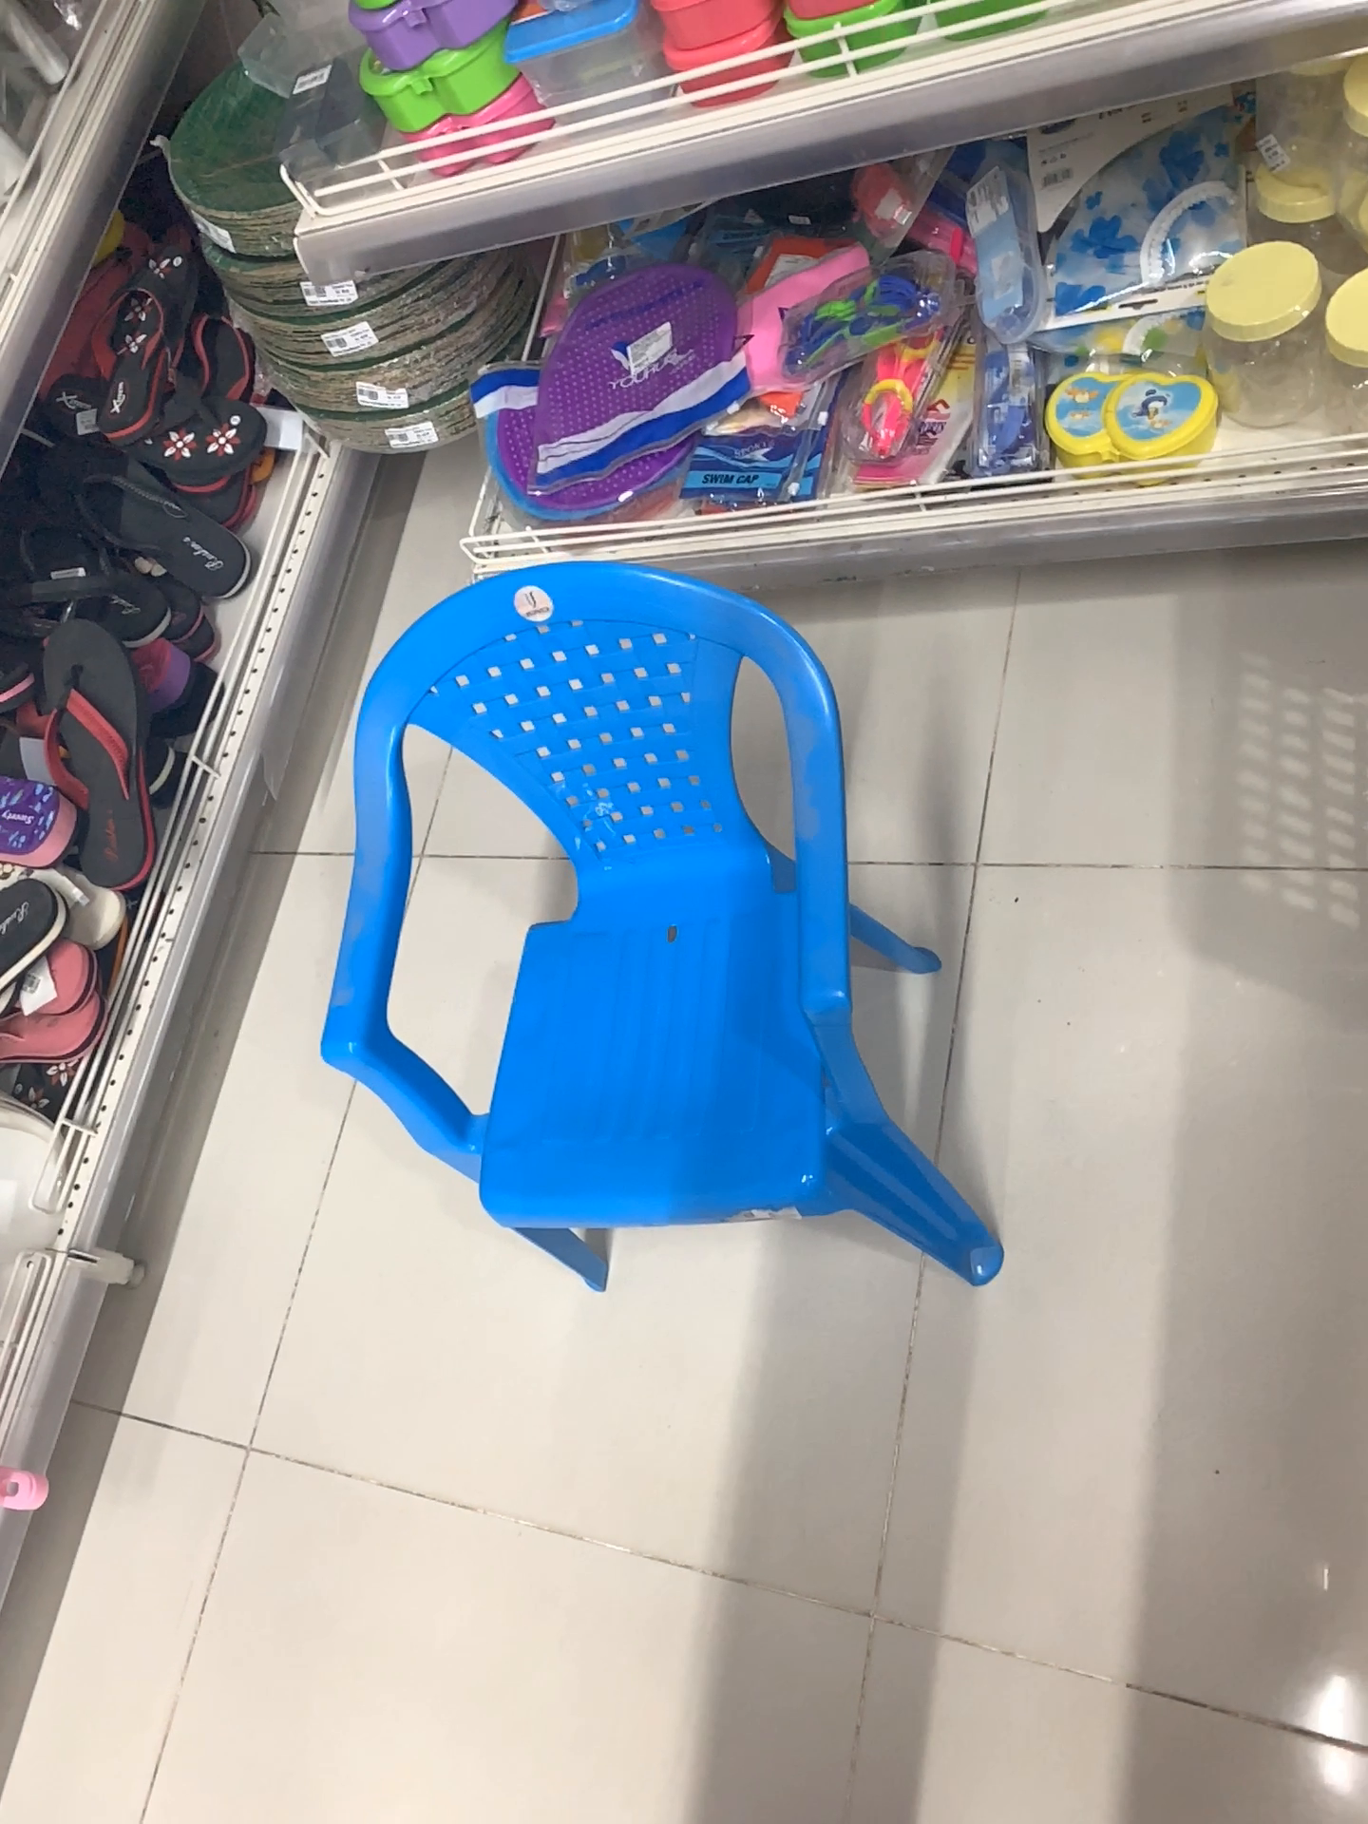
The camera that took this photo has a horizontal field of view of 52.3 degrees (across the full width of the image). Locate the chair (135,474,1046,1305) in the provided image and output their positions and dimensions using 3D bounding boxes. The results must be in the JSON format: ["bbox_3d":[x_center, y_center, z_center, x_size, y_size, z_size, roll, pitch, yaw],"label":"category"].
[{"bbox_3d":[-0.007,0.048,0.973,0.401,0.508,0.360,-7,64,24],"label":"chair"}]
